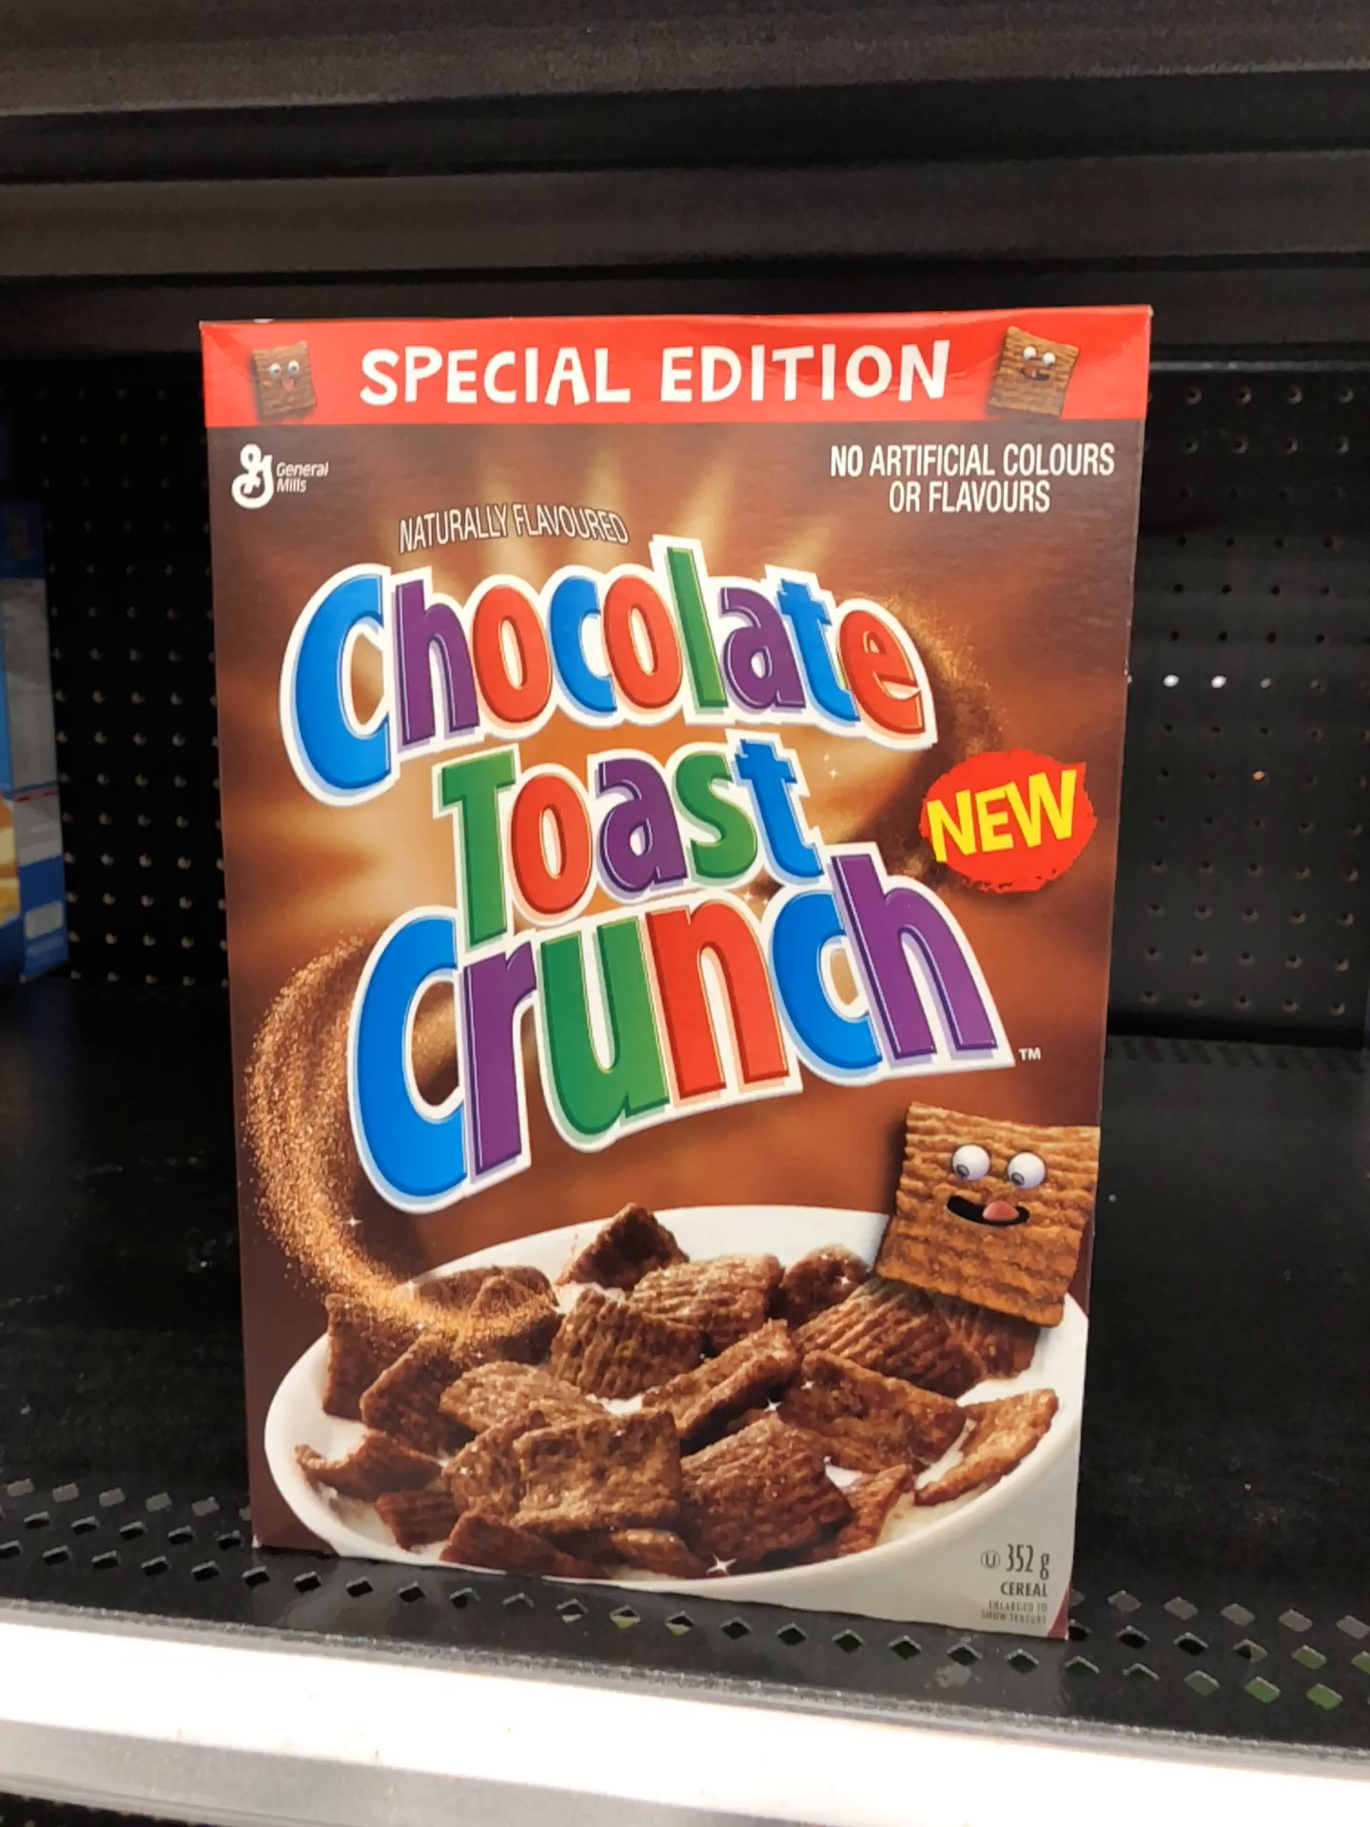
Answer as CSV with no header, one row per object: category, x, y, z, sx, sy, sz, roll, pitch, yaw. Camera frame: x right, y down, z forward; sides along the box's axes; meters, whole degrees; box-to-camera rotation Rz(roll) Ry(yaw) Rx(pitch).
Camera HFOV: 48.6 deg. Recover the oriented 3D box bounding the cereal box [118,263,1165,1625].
cereal box,-0.011,0.007,0.333,0.200,0.269,0.050,2,11,9
